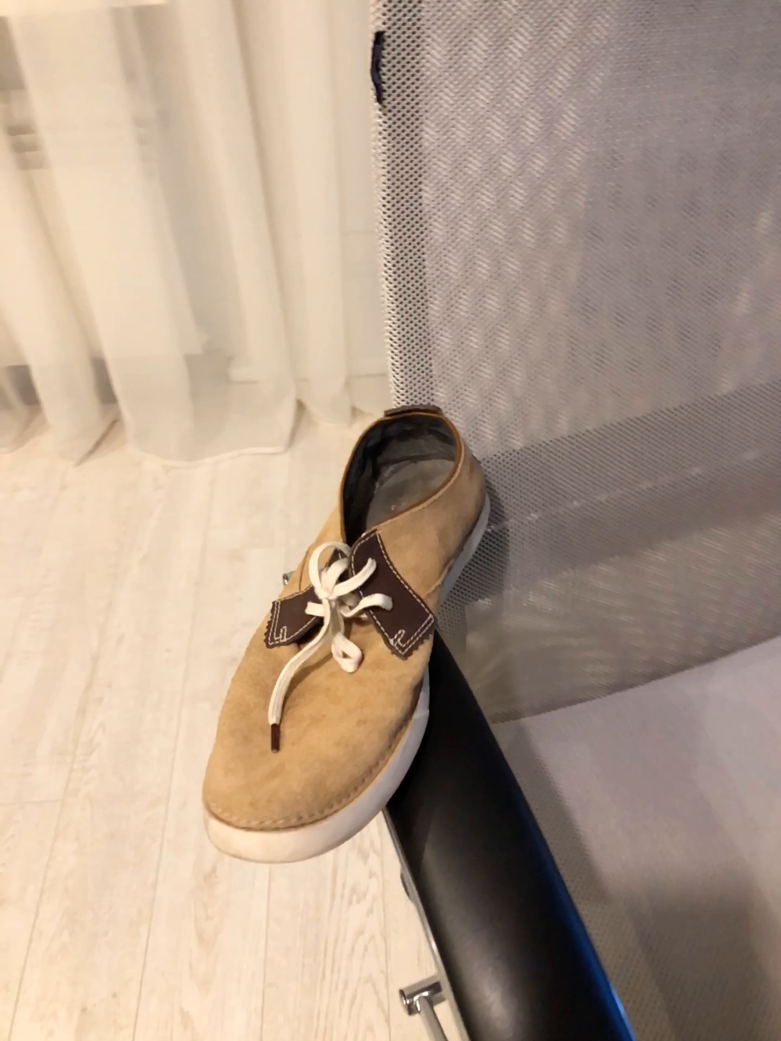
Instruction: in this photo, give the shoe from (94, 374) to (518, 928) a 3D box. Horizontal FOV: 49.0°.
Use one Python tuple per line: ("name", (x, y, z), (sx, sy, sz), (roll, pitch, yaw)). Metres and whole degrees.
("shoe", (-0.022, 0.046, 0.493), (0.120, 0.079, 0.312), (11, 47, 15))
